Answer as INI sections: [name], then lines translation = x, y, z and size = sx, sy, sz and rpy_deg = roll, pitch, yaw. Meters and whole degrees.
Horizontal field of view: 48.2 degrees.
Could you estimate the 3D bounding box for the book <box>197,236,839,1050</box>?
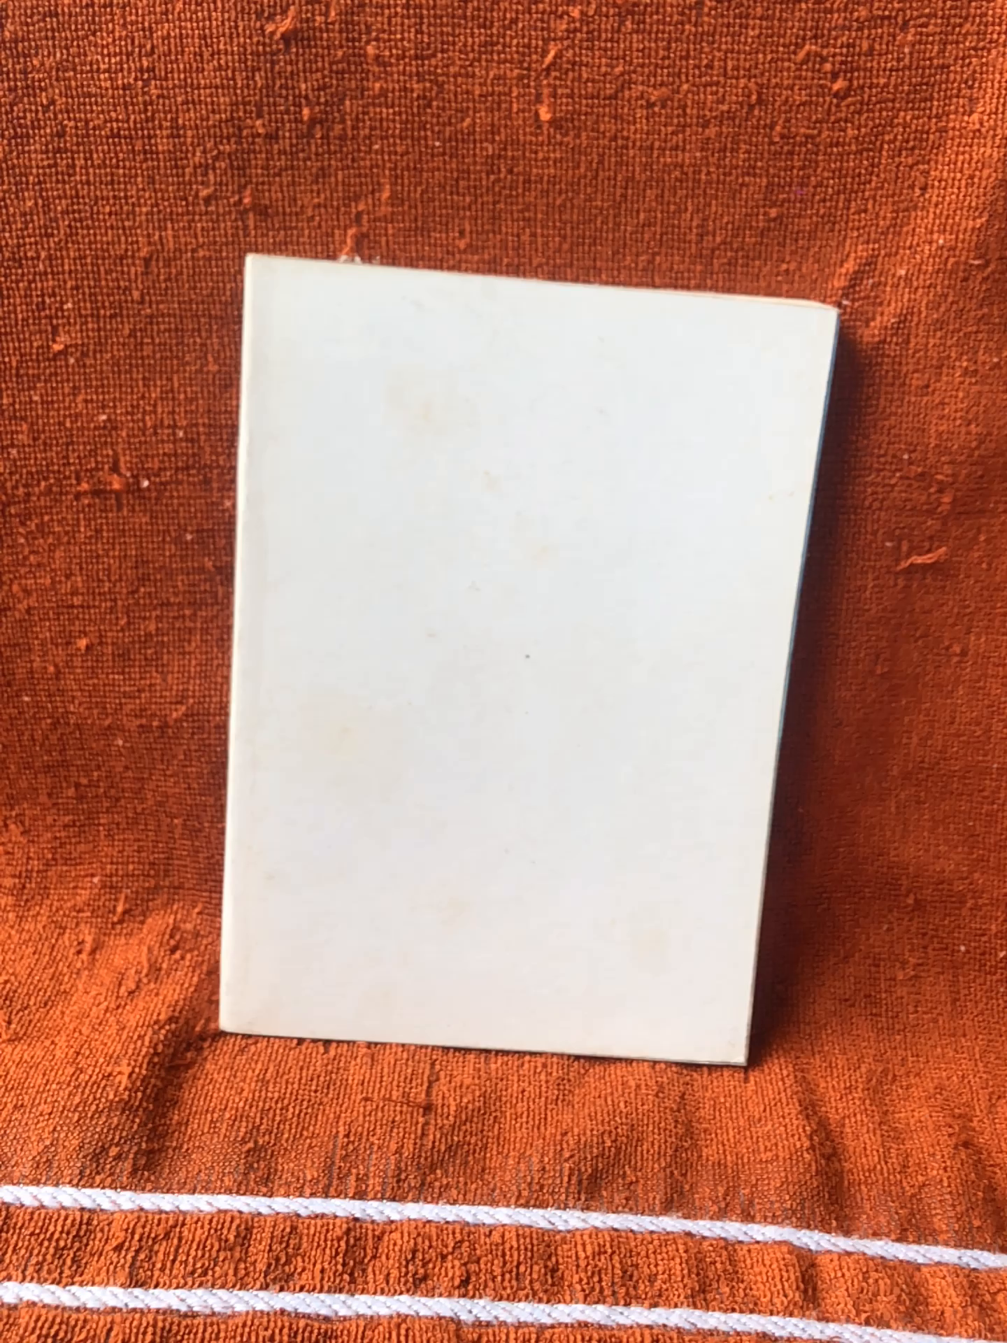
[book]
translation = 0.003, -0.006, 0.309
size = 0.150, 0.200, 0.030
rpy_deg = 5, 2, -2
